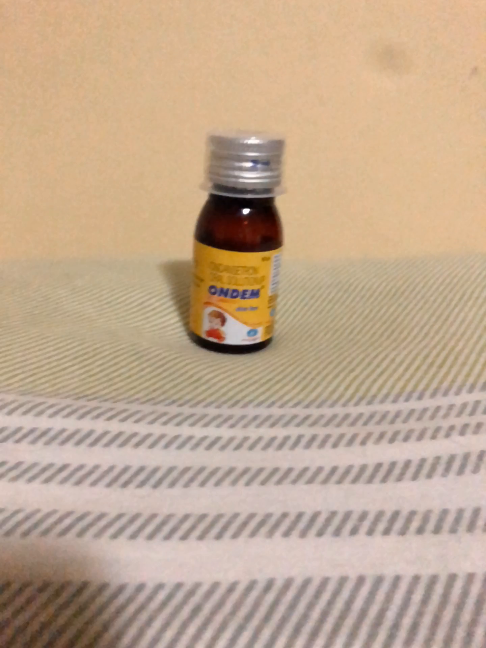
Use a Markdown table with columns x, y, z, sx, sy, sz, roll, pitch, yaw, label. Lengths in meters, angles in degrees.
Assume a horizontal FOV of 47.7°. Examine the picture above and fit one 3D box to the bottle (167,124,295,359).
| x | y | z | sx | sy | sz | roll | pitch | yaw | label |
| --- | --- | --- | --- | --- | --- | --- | --- | --- | --- |
| -0.003 | -0.032 | 0.203 | 0.037 | 0.076 | 0.038 | 2 | 23 | -1 | bottle |
